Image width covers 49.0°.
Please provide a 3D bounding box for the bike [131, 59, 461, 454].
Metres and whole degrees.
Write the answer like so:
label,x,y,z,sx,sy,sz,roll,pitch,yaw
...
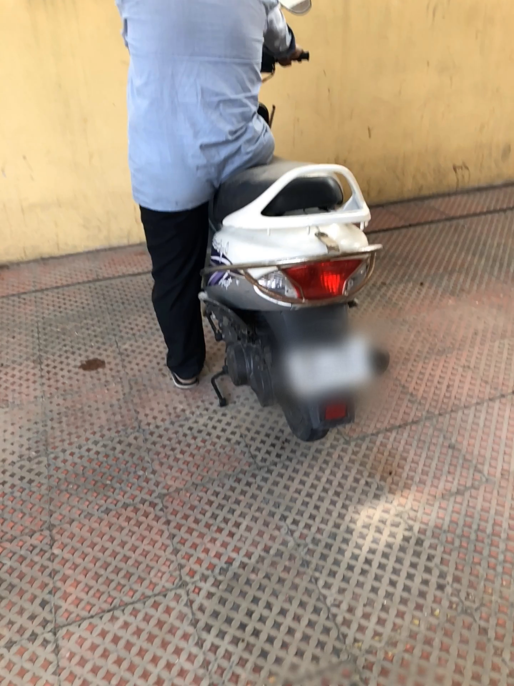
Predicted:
label,x,y,z,sx,sy,sz,roll,pitch,yaw
bike,-0.041,-0.490,2.034,0.599,0.816,1.618,-9,32,-11
